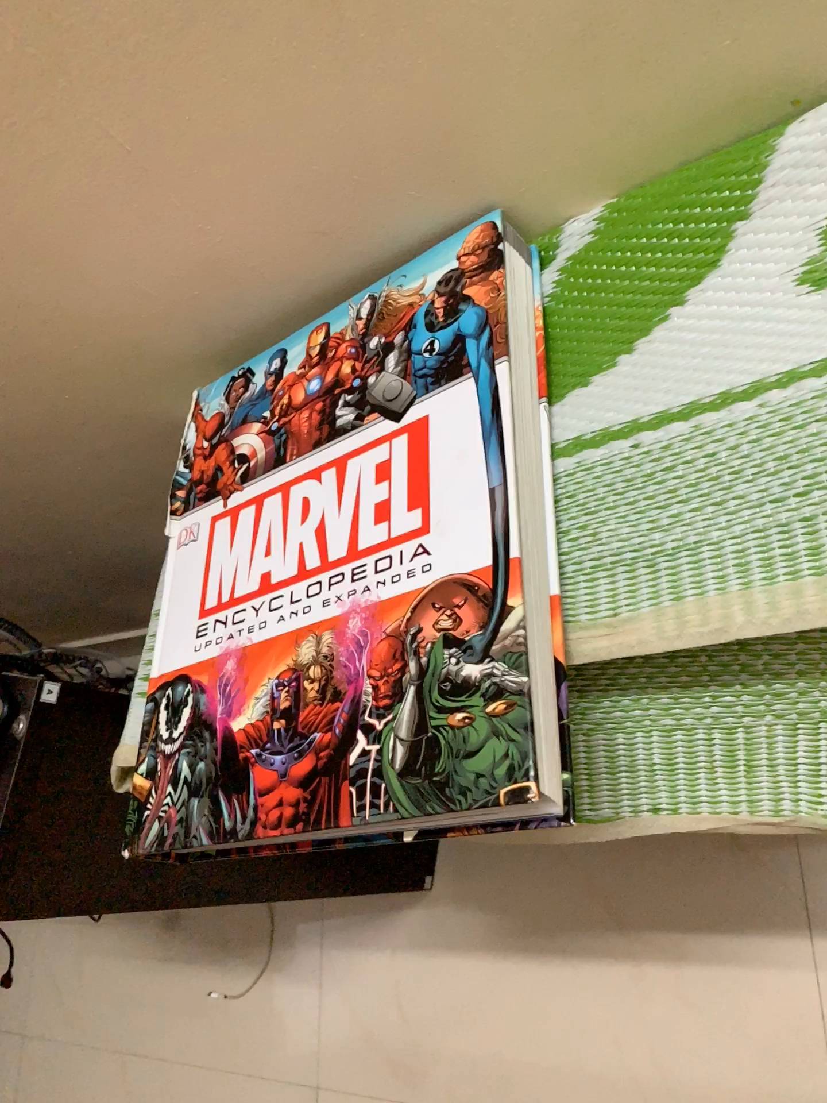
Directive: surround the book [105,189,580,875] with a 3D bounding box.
[{"bbox_3d":[-0.048,-0.004,0.461,0.261,0.040,0.321,-19,57,35],"label":"book"}]
